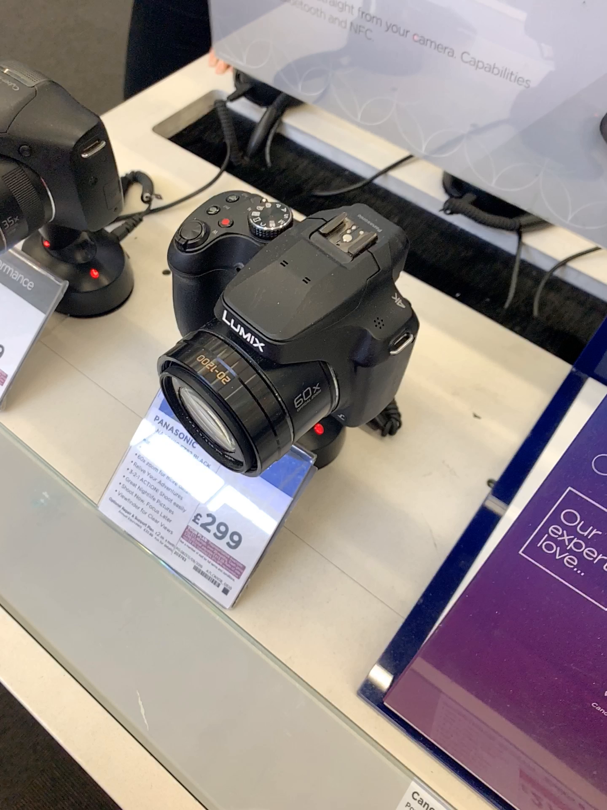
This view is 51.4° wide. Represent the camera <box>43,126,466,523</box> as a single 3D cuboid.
[{"bbox_3d":[-0.021,-0.043,0.298,0.130,0.079,0.121,37,62,20],"label":"camera"}]
